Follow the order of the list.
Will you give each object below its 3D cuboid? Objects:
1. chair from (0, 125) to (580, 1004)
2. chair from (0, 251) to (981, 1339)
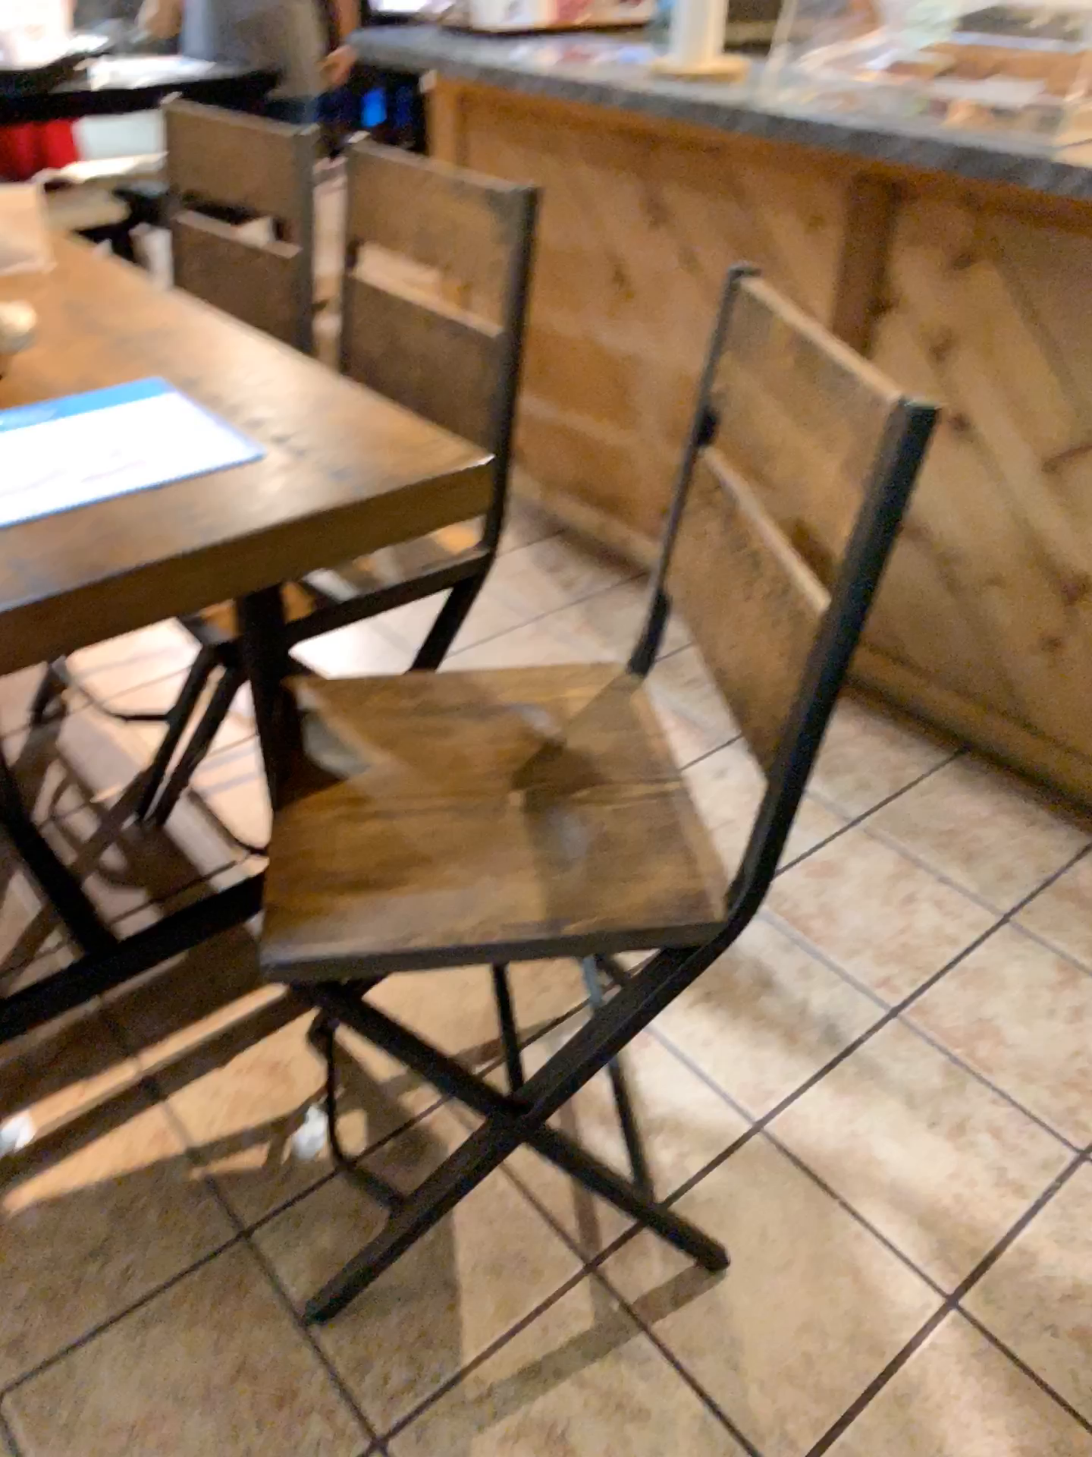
[{"bbox_3d":[-0.347,-0.237,1.626,0.616,1.003,0.494,-27,45,-30],"label":"chair"},{"bbox_3d":[-0.033,0.104,1.152,0.615,0.983,0.444,-6,34,-4],"label":"chair"}]
